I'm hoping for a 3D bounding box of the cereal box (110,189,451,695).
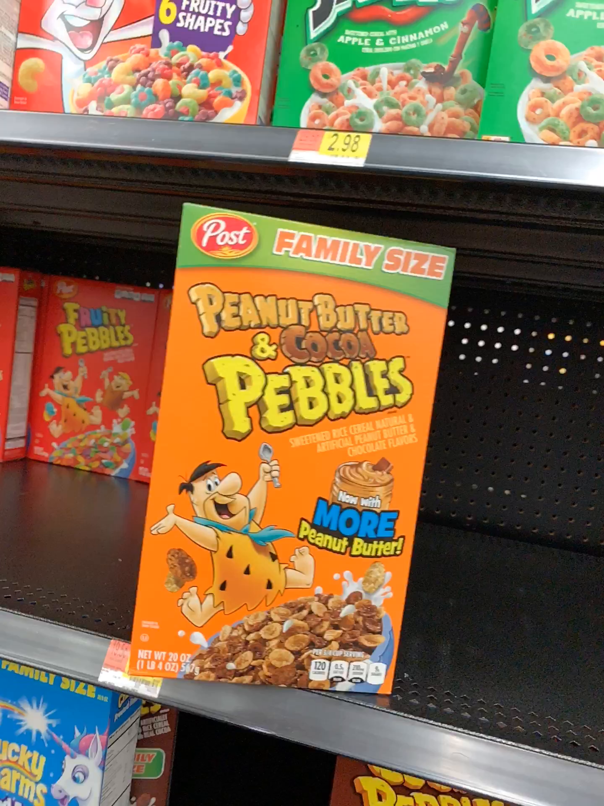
[{"bbox_3d":[-0.018,0.034,0.471,0.200,0.340,0.060,7,4,-7],"label":"cereal box"}]
